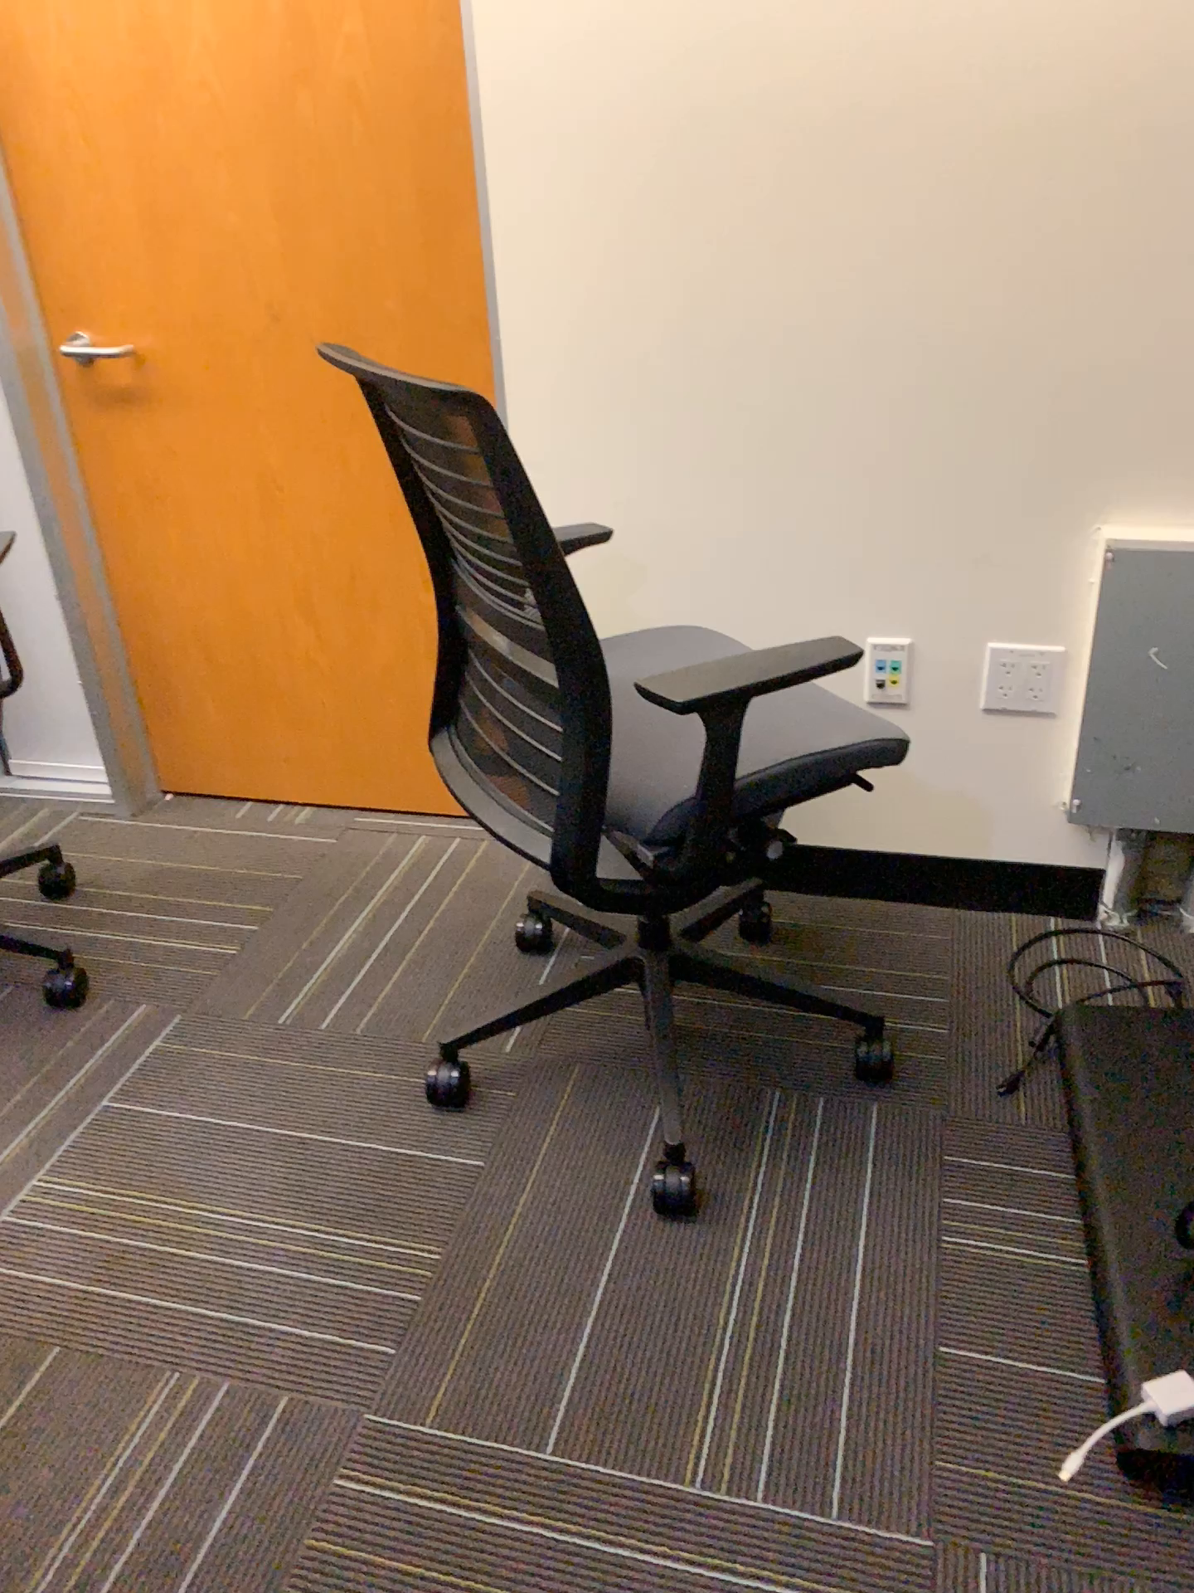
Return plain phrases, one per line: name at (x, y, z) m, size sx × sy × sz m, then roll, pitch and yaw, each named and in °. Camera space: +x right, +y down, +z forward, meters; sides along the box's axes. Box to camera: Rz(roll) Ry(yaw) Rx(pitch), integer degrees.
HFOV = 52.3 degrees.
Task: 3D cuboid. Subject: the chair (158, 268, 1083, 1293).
chair at (0.042, -0.125, 1.641) m, size 0.781 × 0.994 × 0.744 m, roll -25°, pitch 34°, yaw -34°
